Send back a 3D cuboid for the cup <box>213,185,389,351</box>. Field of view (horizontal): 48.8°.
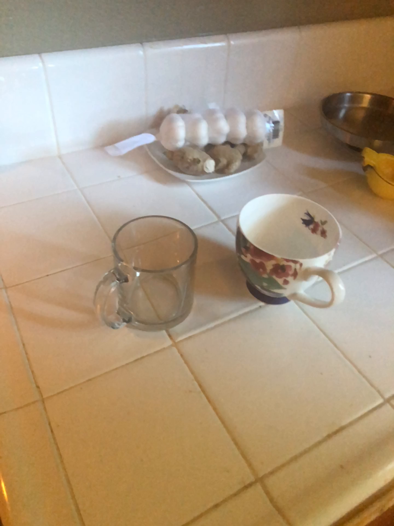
[{"bbox_3d":[0.100,-0.001,0.462,0.110,0.079,0.141,-14,48,-19],"label":"cup"}]

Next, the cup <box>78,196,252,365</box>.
[{"bbox_3d":[-0.032,0.012,0.437,0.131,0.079,0.100,-27,53,-29],"label":"cup"}]
